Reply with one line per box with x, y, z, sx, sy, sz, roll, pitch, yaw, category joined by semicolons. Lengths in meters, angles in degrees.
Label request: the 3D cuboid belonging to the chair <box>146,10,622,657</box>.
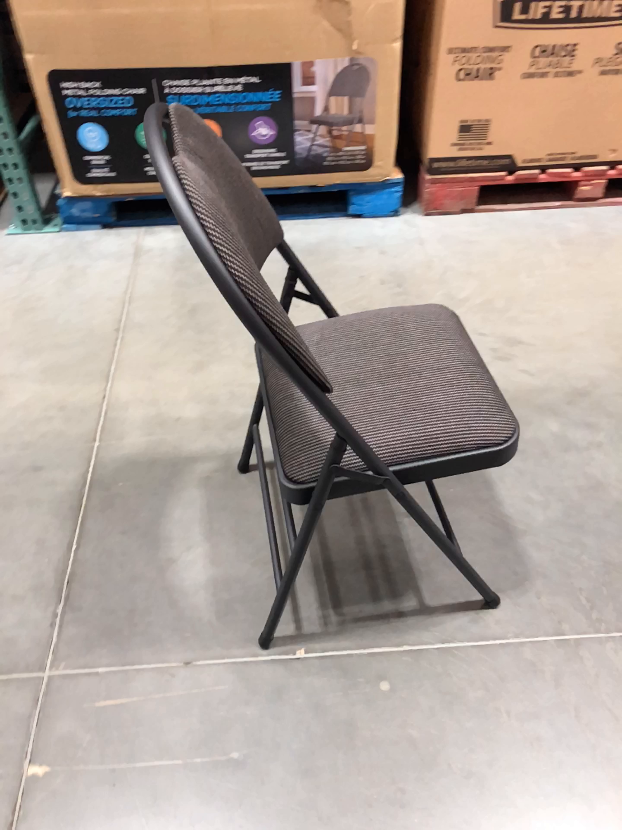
0.099;-0.093;1.124;0.560;0.866;0.522;-6;44;-5;chair
